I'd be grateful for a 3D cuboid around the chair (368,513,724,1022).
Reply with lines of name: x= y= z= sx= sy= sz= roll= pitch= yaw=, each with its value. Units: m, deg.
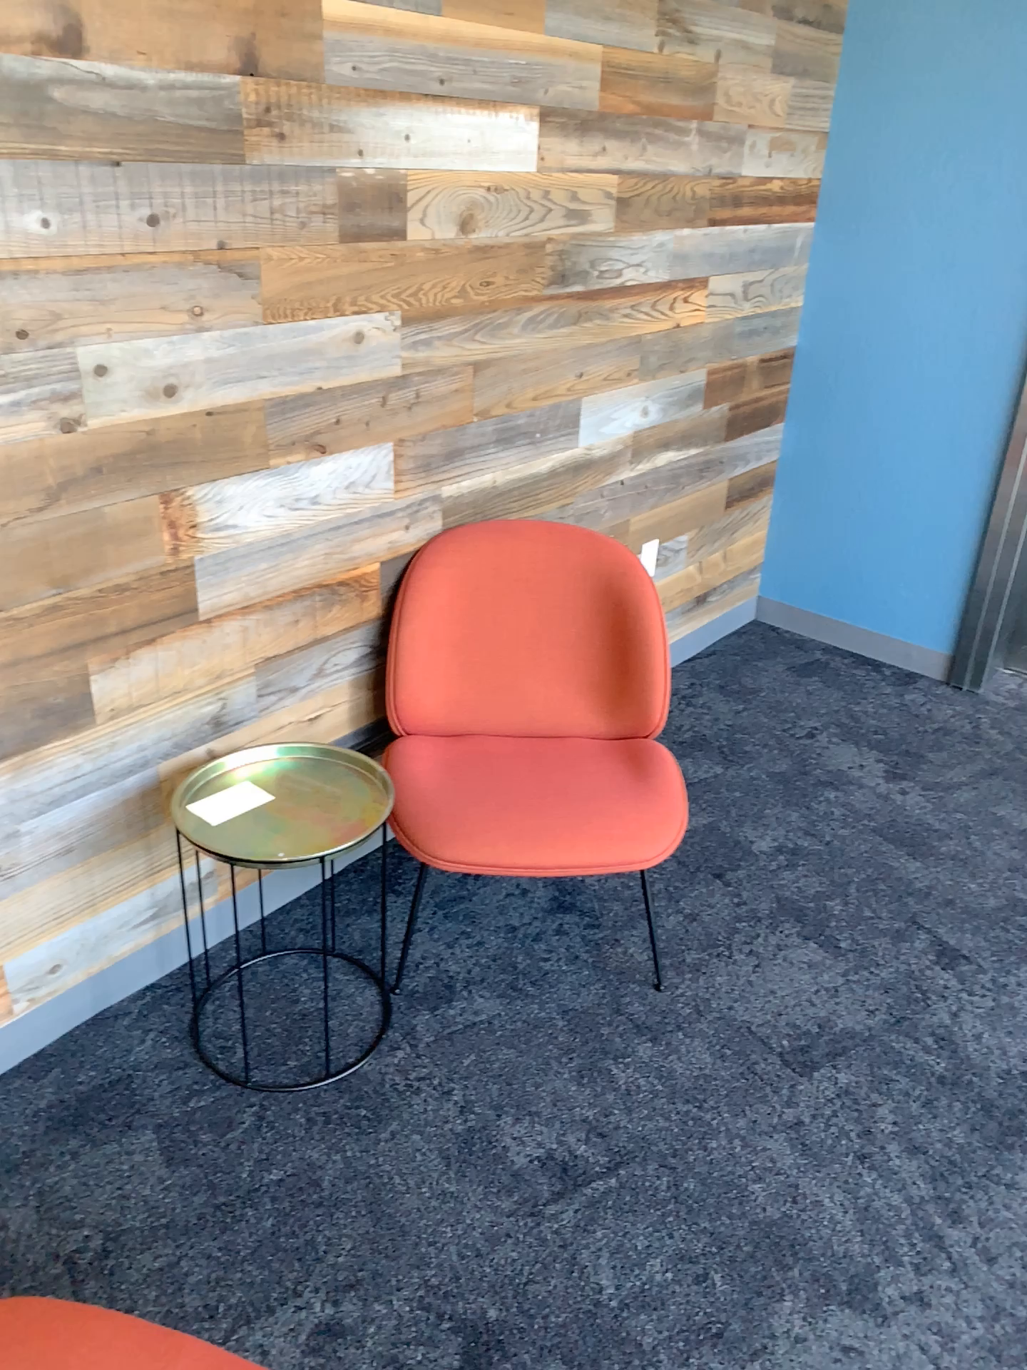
chair: x=0.002 y=0.125 z=2.139 sx=0.570 sy=0.756 sz=0.714 roll=-1 pitch=27 yaw=-7
